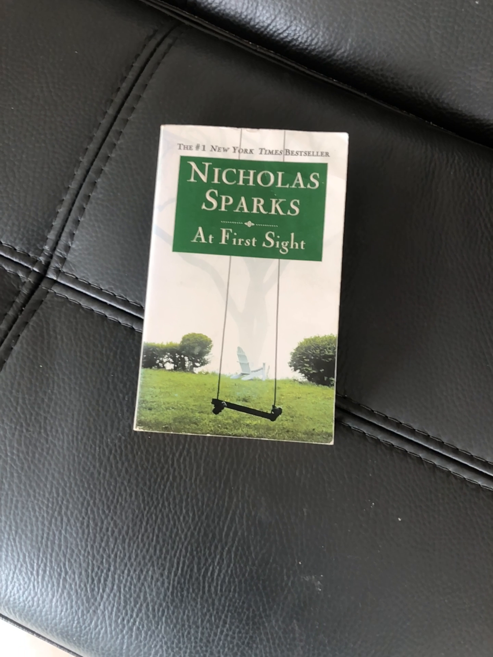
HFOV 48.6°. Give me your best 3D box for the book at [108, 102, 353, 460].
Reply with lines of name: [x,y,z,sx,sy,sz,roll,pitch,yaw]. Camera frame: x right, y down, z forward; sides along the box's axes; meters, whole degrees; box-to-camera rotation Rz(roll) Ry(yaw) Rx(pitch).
book: [-0.007,-0.028,0.314,0.120,0.030,0.190,4,84,0]
